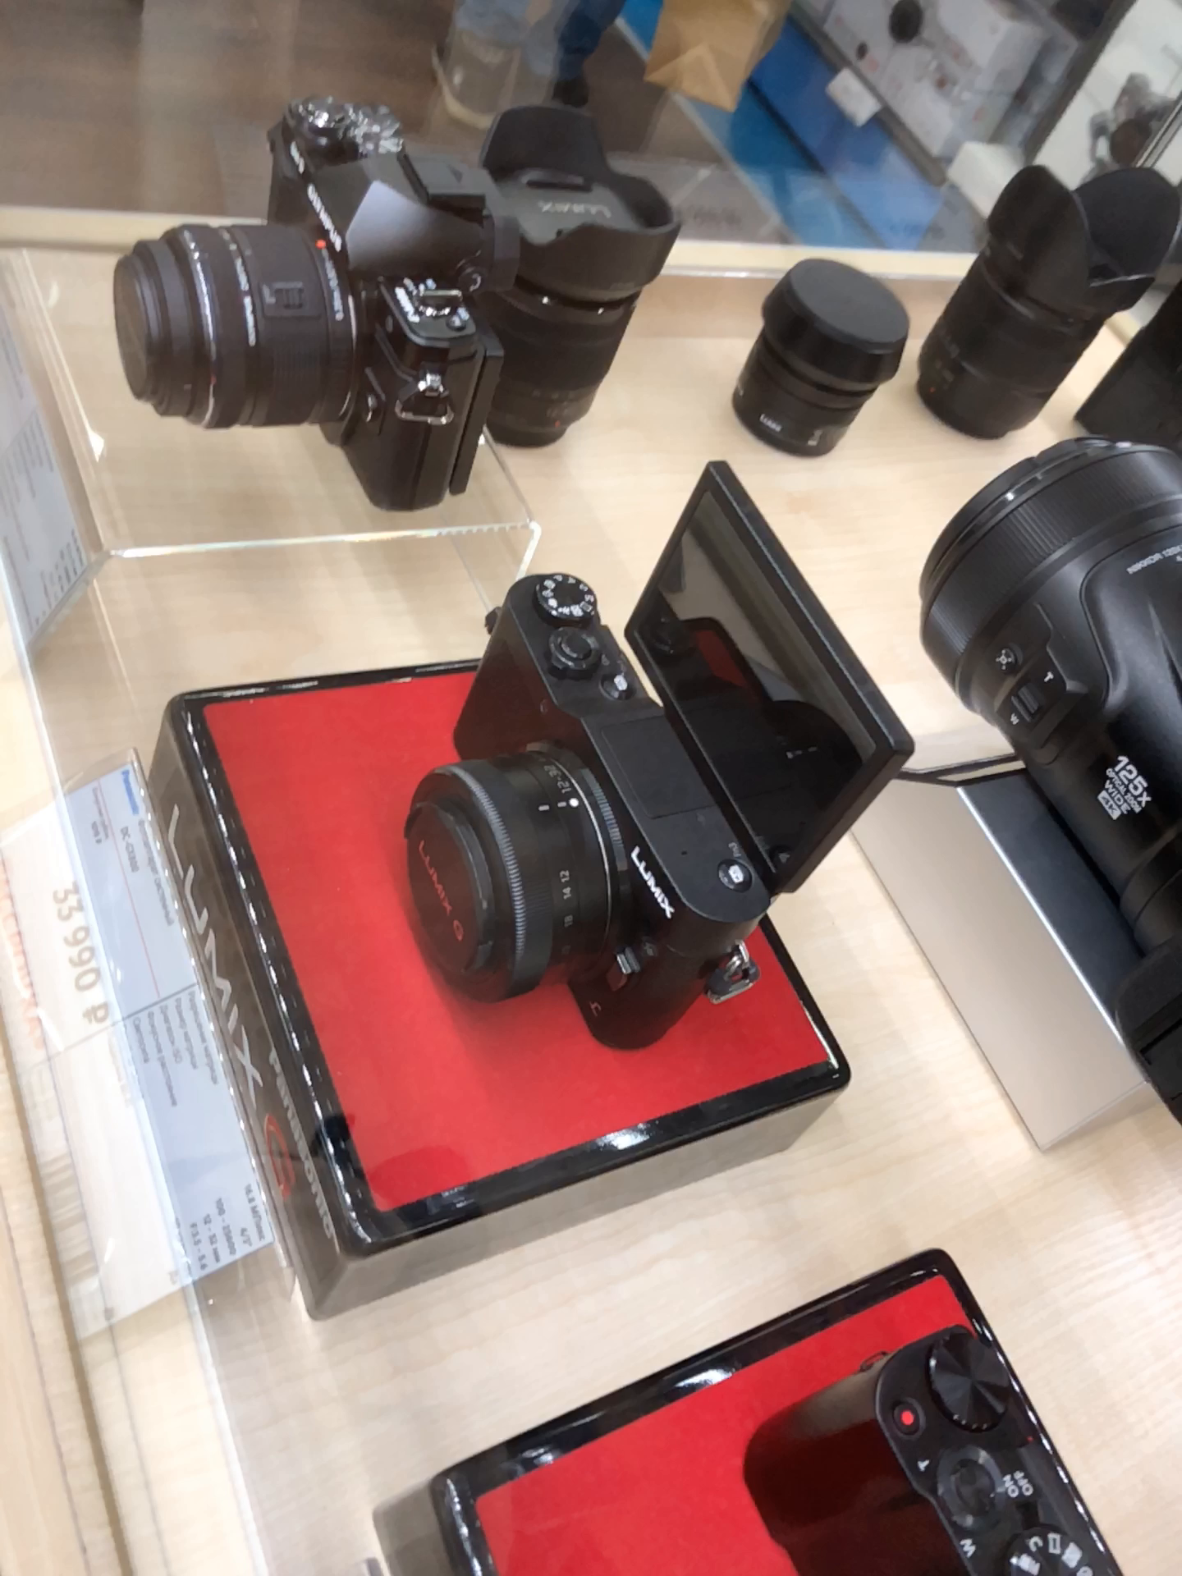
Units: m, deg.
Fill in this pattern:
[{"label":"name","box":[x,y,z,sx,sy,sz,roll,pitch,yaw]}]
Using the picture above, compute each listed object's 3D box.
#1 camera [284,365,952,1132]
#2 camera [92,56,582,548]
[{"label":"camera","box":[-0.007,-0.008,0.289,0.070,0.120,0.108,-14,60,-31]},{"label":"camera","box":[-0.081,-0.142,0.389,0.103,0.080,0.108,-10,58,-29]}]
